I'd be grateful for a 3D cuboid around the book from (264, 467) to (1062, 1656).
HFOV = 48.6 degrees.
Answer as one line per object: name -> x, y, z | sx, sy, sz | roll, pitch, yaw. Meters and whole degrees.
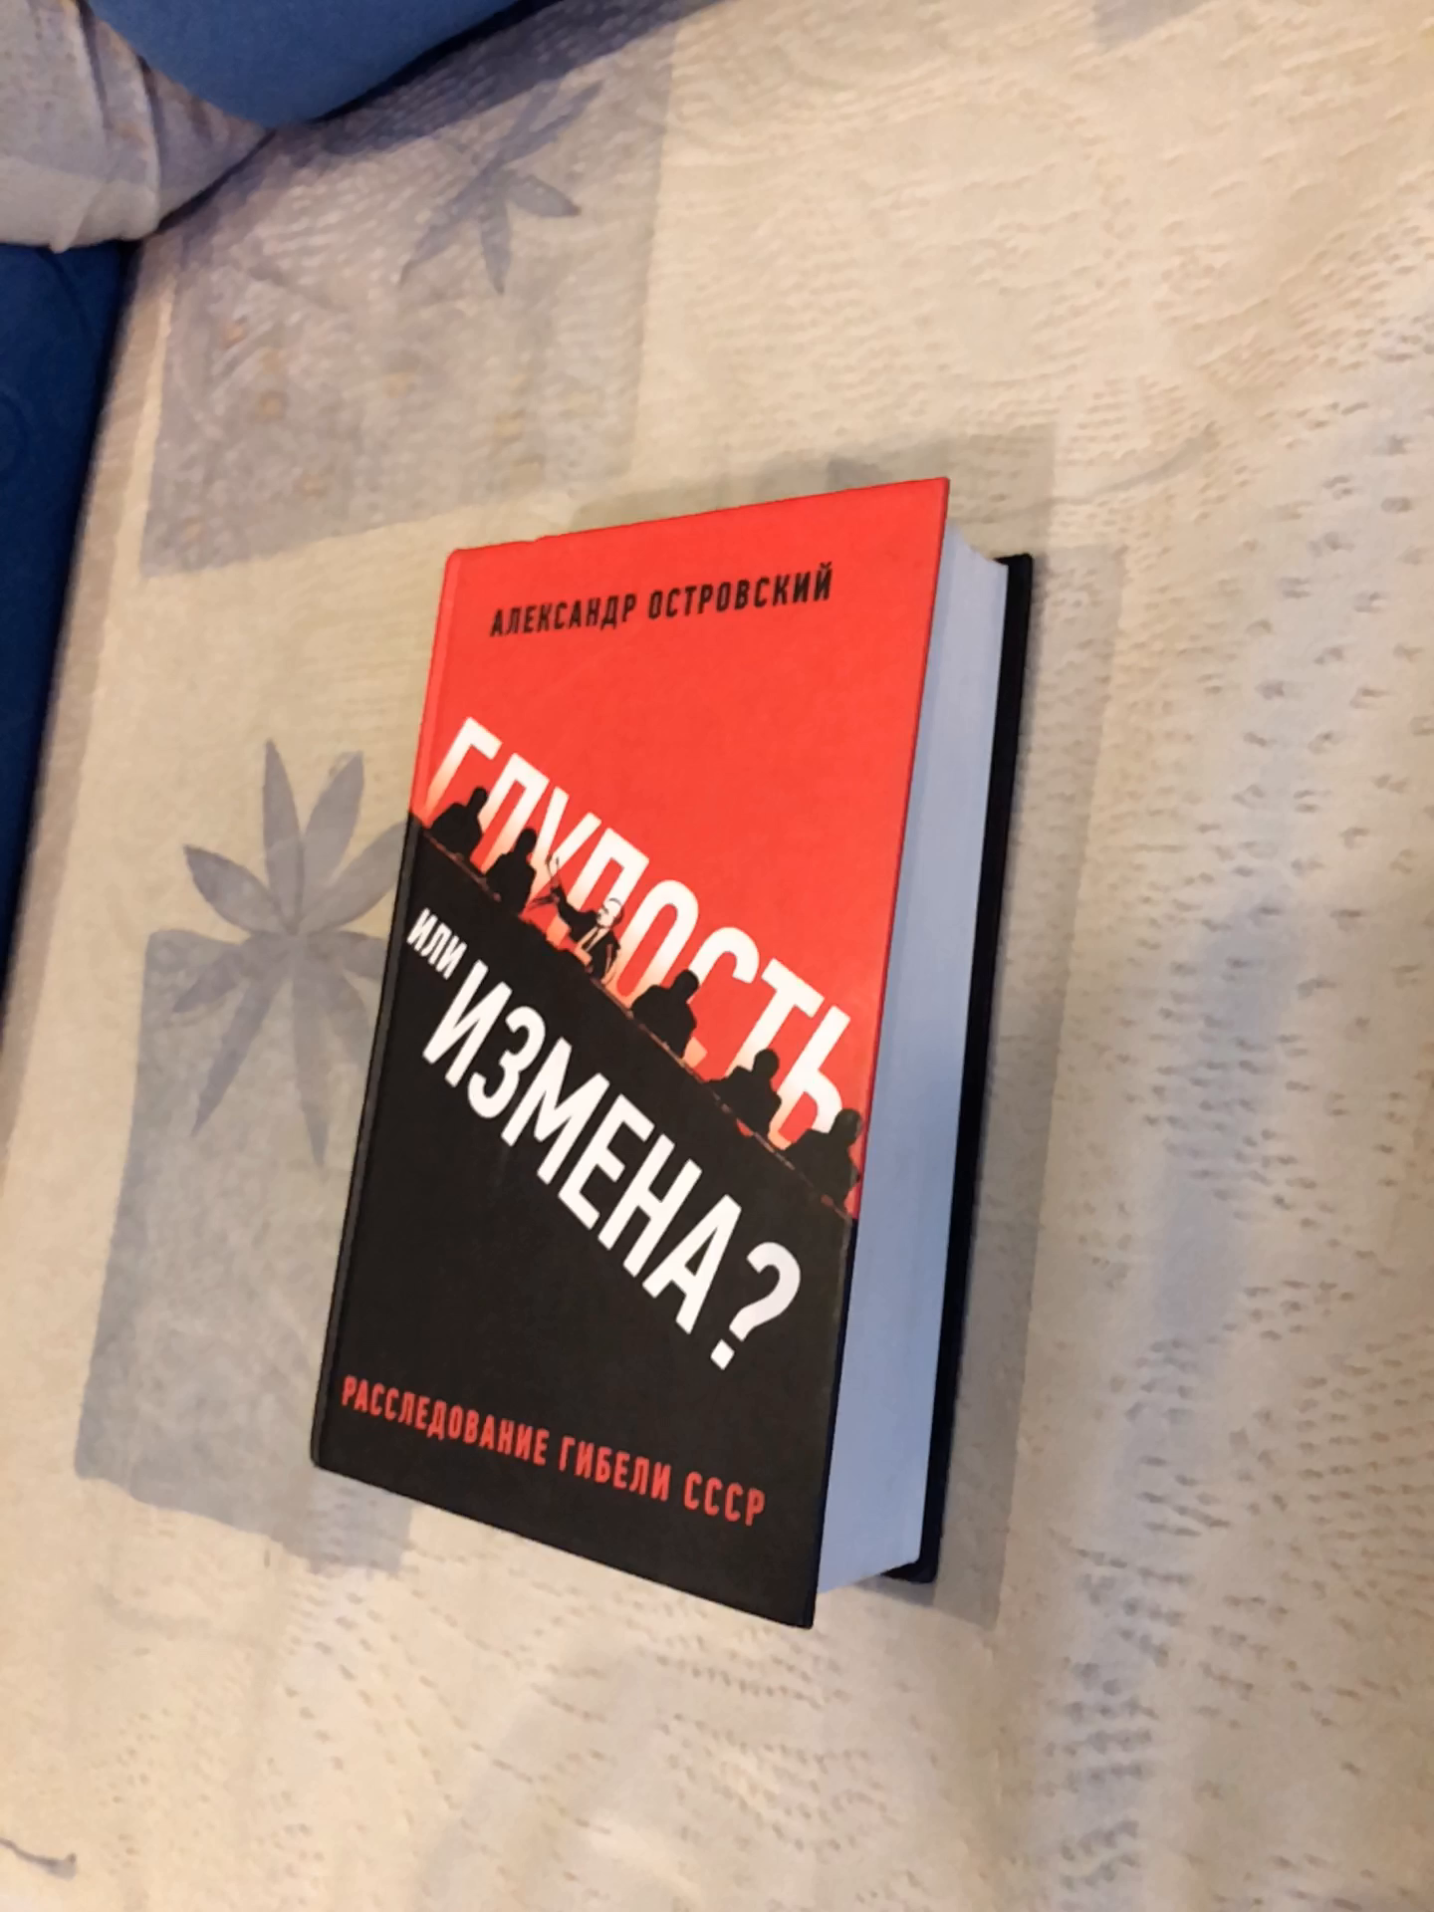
book -> -0.012, 0.015, 0.324 | 0.135, 0.050, 0.200 | 2, 80, 35
